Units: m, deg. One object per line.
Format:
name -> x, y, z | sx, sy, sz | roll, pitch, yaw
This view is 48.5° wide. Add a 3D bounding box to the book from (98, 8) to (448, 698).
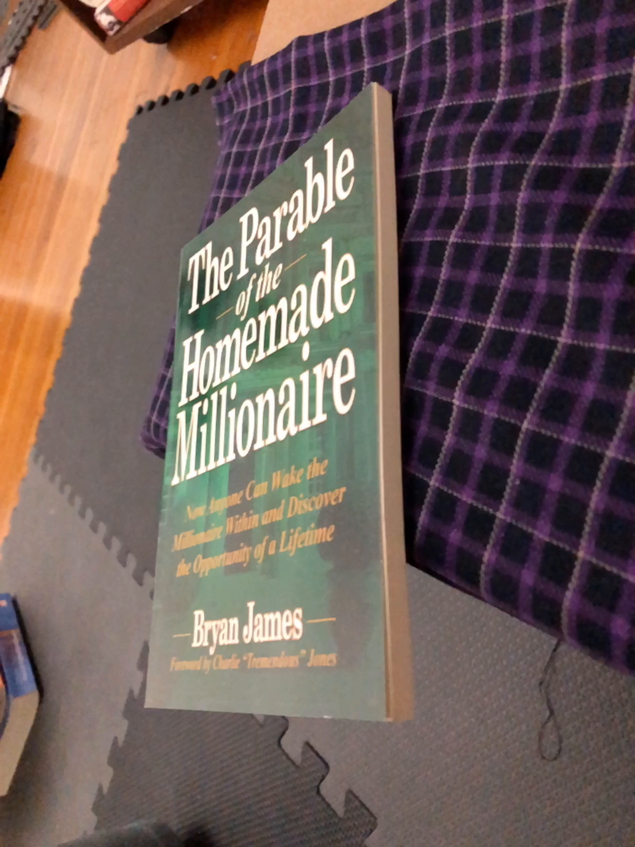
book -> -0.027, -0.014, 0.258 | 0.161, 0.020, 0.210 | -24, 59, 47
